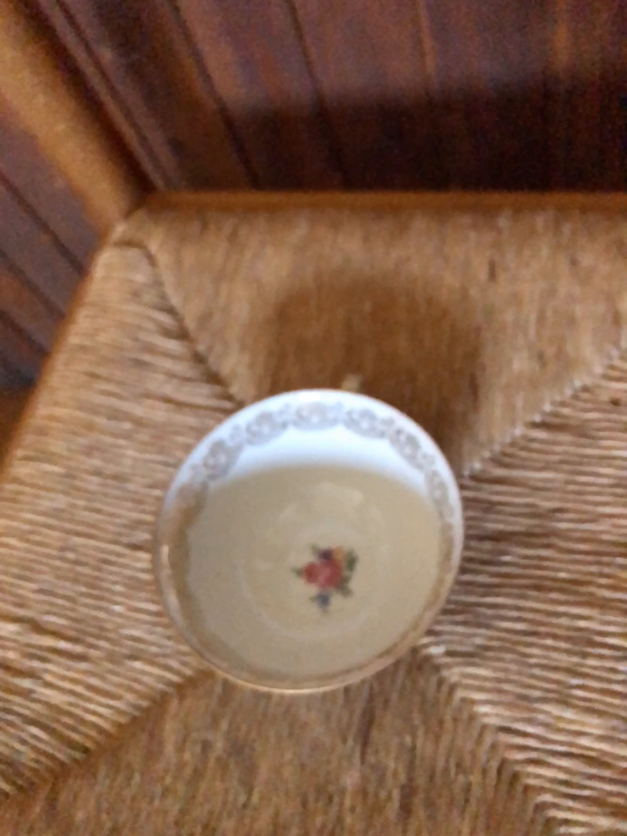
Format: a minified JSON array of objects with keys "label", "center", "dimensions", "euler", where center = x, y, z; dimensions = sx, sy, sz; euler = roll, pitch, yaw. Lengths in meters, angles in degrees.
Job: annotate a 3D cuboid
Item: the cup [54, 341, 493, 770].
[{"label":"cup","center":[-0.008,0.042,0.280],"dimensions":[0.130,0.040,0.141],"euler":[-8,56,12]}]
